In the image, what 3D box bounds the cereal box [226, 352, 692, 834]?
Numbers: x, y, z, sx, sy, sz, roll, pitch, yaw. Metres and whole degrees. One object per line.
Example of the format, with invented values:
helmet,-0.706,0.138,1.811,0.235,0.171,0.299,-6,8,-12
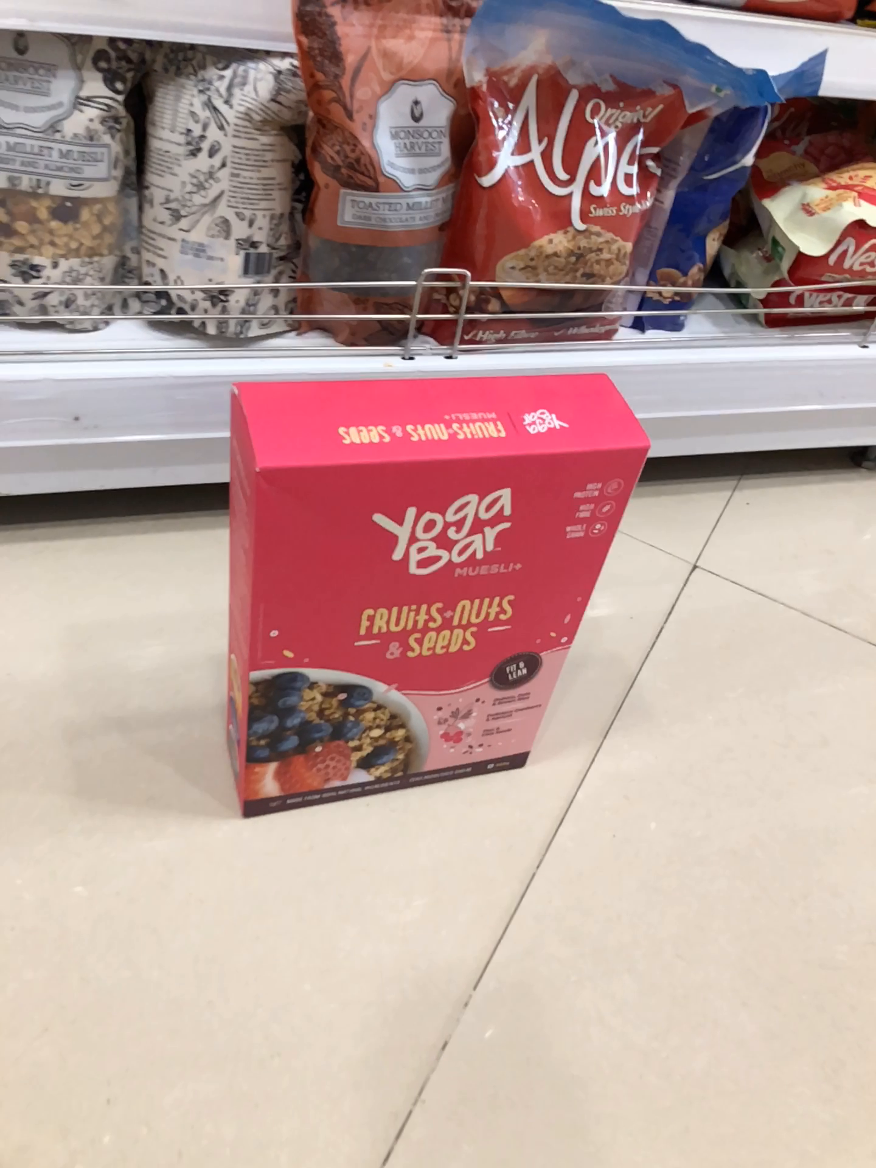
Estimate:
cereal box,-0.007,0.012,0.445,0.170,0.228,0.060,-7,47,-19
